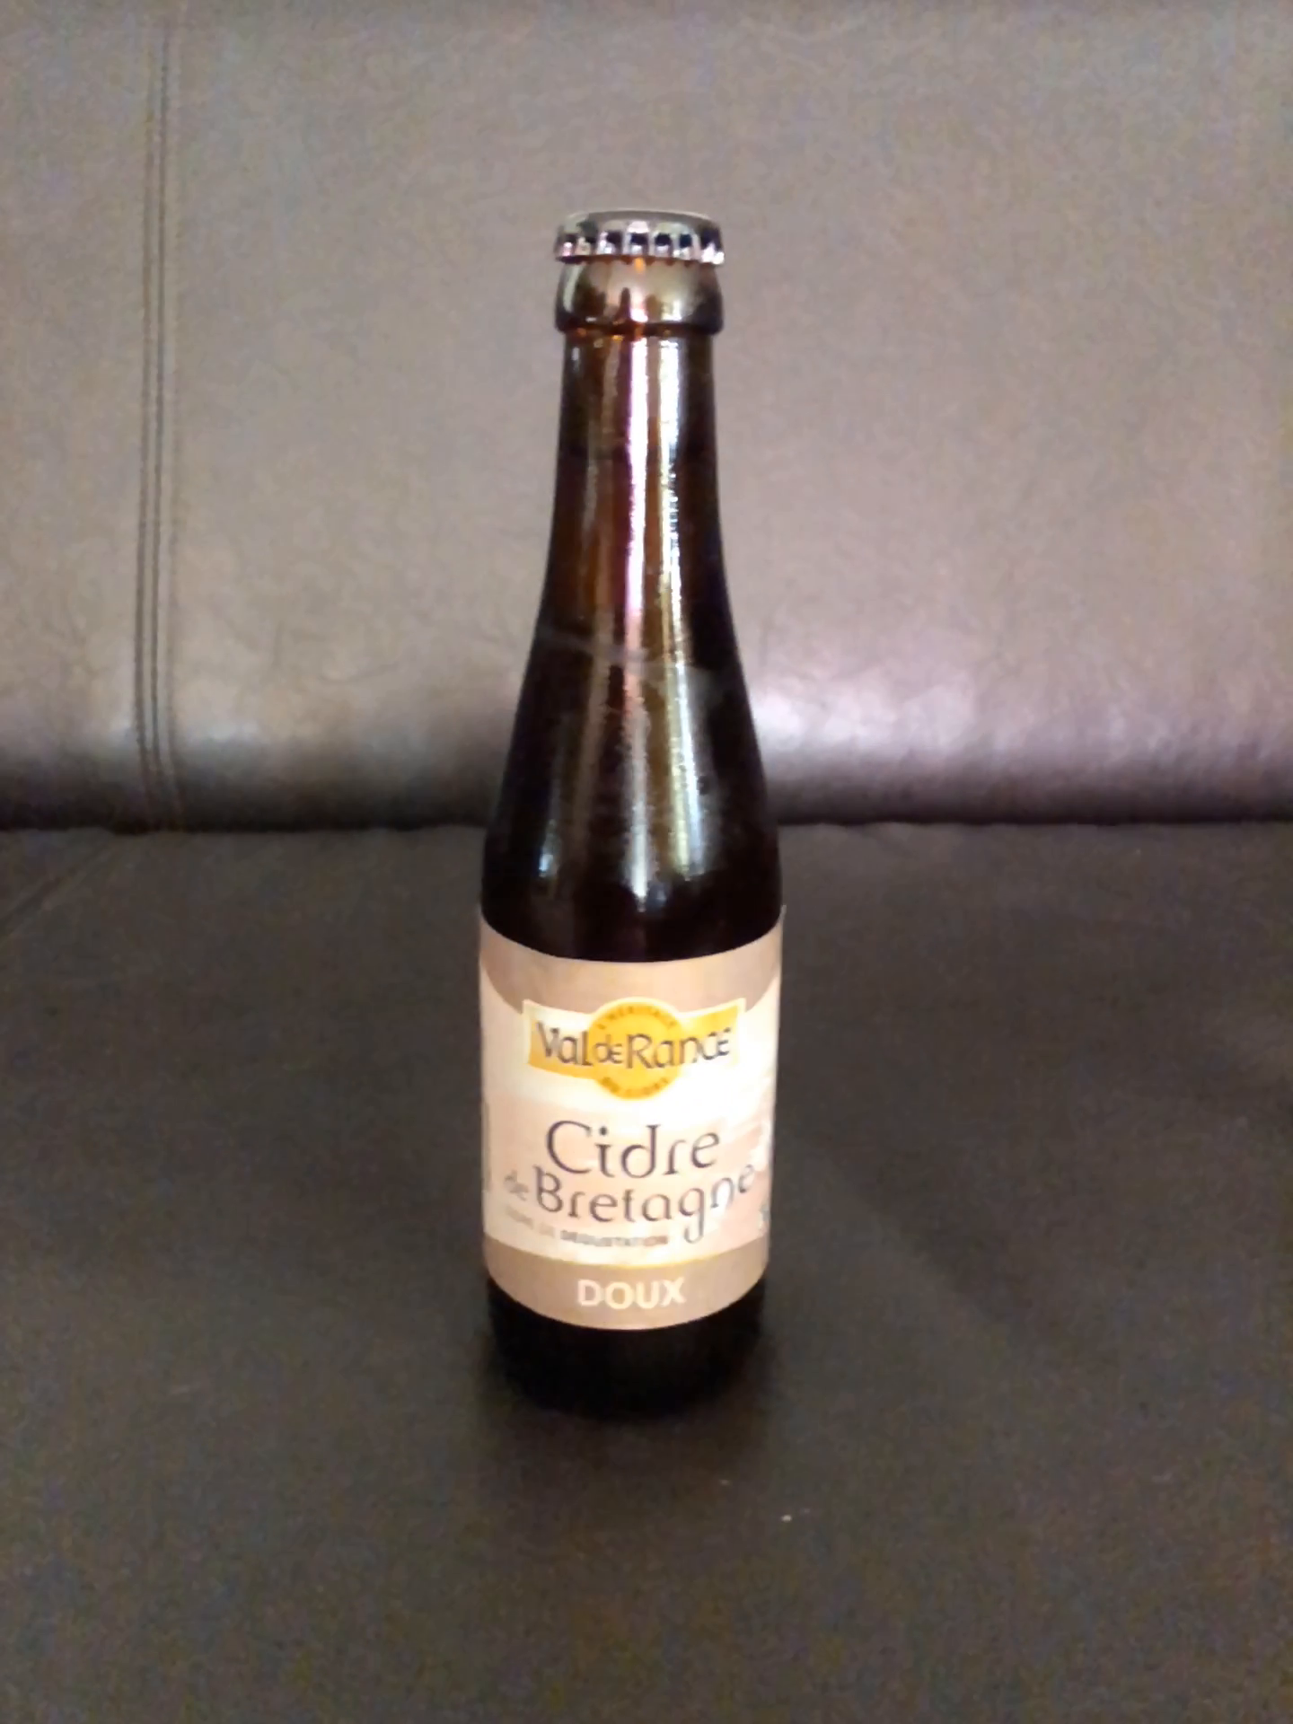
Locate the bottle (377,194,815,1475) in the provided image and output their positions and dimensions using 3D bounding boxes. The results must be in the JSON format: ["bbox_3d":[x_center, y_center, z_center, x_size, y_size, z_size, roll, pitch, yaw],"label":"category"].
[{"bbox_3d":[-0.004,0.000,0.255,0.060,0.209,0.060,-1,17,0],"label":"bottle"}]
